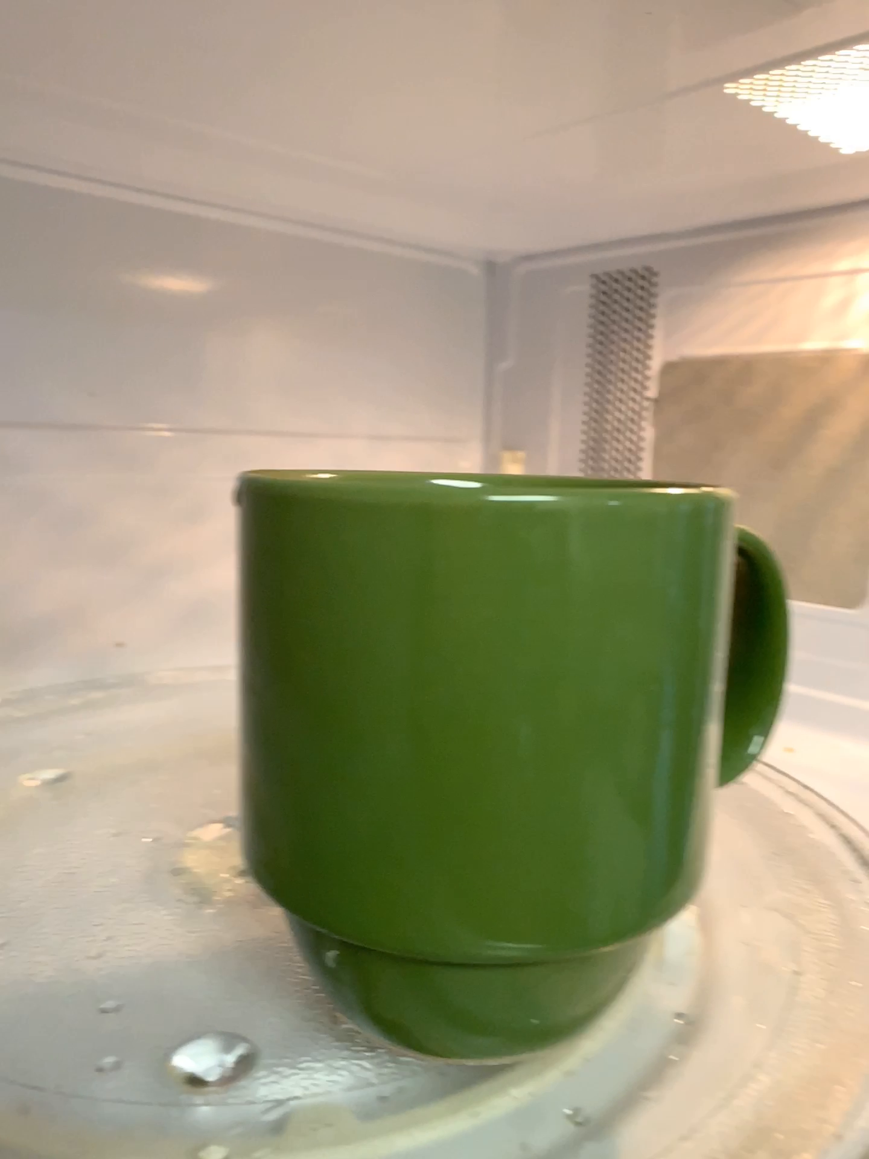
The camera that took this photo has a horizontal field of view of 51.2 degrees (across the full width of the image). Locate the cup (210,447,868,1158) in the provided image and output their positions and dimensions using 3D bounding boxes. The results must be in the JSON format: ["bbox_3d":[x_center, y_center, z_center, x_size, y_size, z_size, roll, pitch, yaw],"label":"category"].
[{"bbox_3d":[0.036,0.025,0.162,0.130,0.090,0.080,-3,10,-31],"label":"cup"}]
